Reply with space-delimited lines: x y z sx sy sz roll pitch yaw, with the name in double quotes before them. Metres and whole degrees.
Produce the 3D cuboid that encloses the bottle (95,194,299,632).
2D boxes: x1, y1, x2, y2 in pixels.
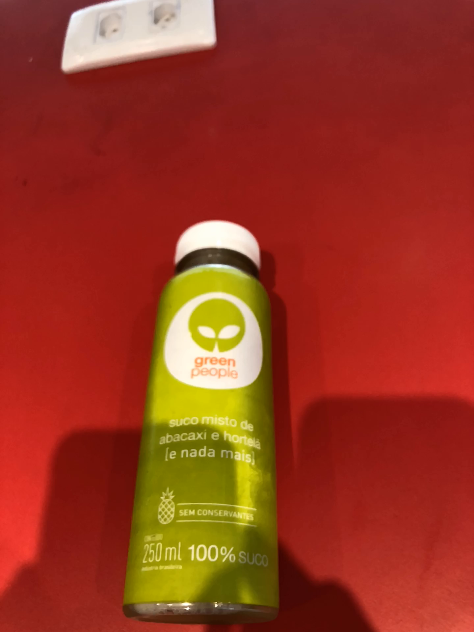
"bottle" -0.011 0.037 0.218 0.060 0.050 0.171 5 63 -5
